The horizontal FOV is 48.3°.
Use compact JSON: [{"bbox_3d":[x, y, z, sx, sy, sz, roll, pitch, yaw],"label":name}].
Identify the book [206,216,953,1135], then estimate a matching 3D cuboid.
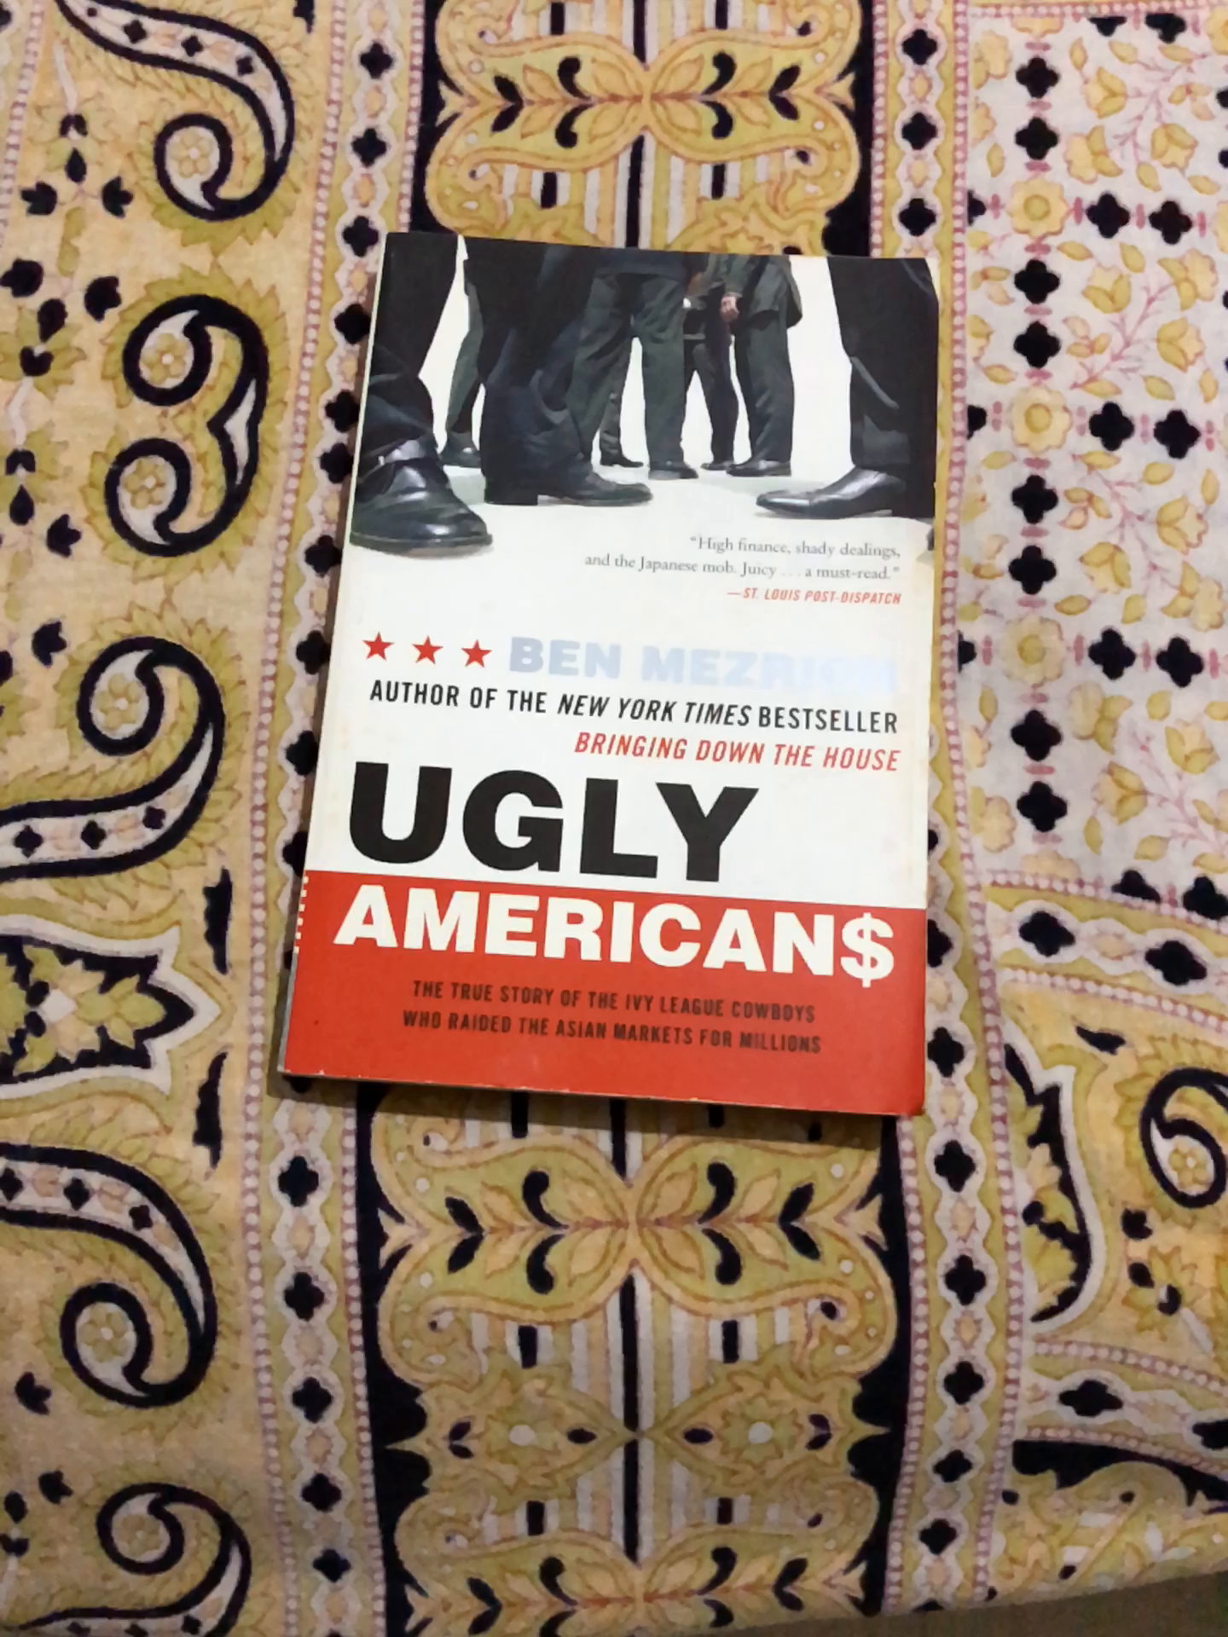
[{"bbox_3d":[-0.002,-0.034,0.295,0.140,0.030,0.190,3,78,3],"label":"book"}]
